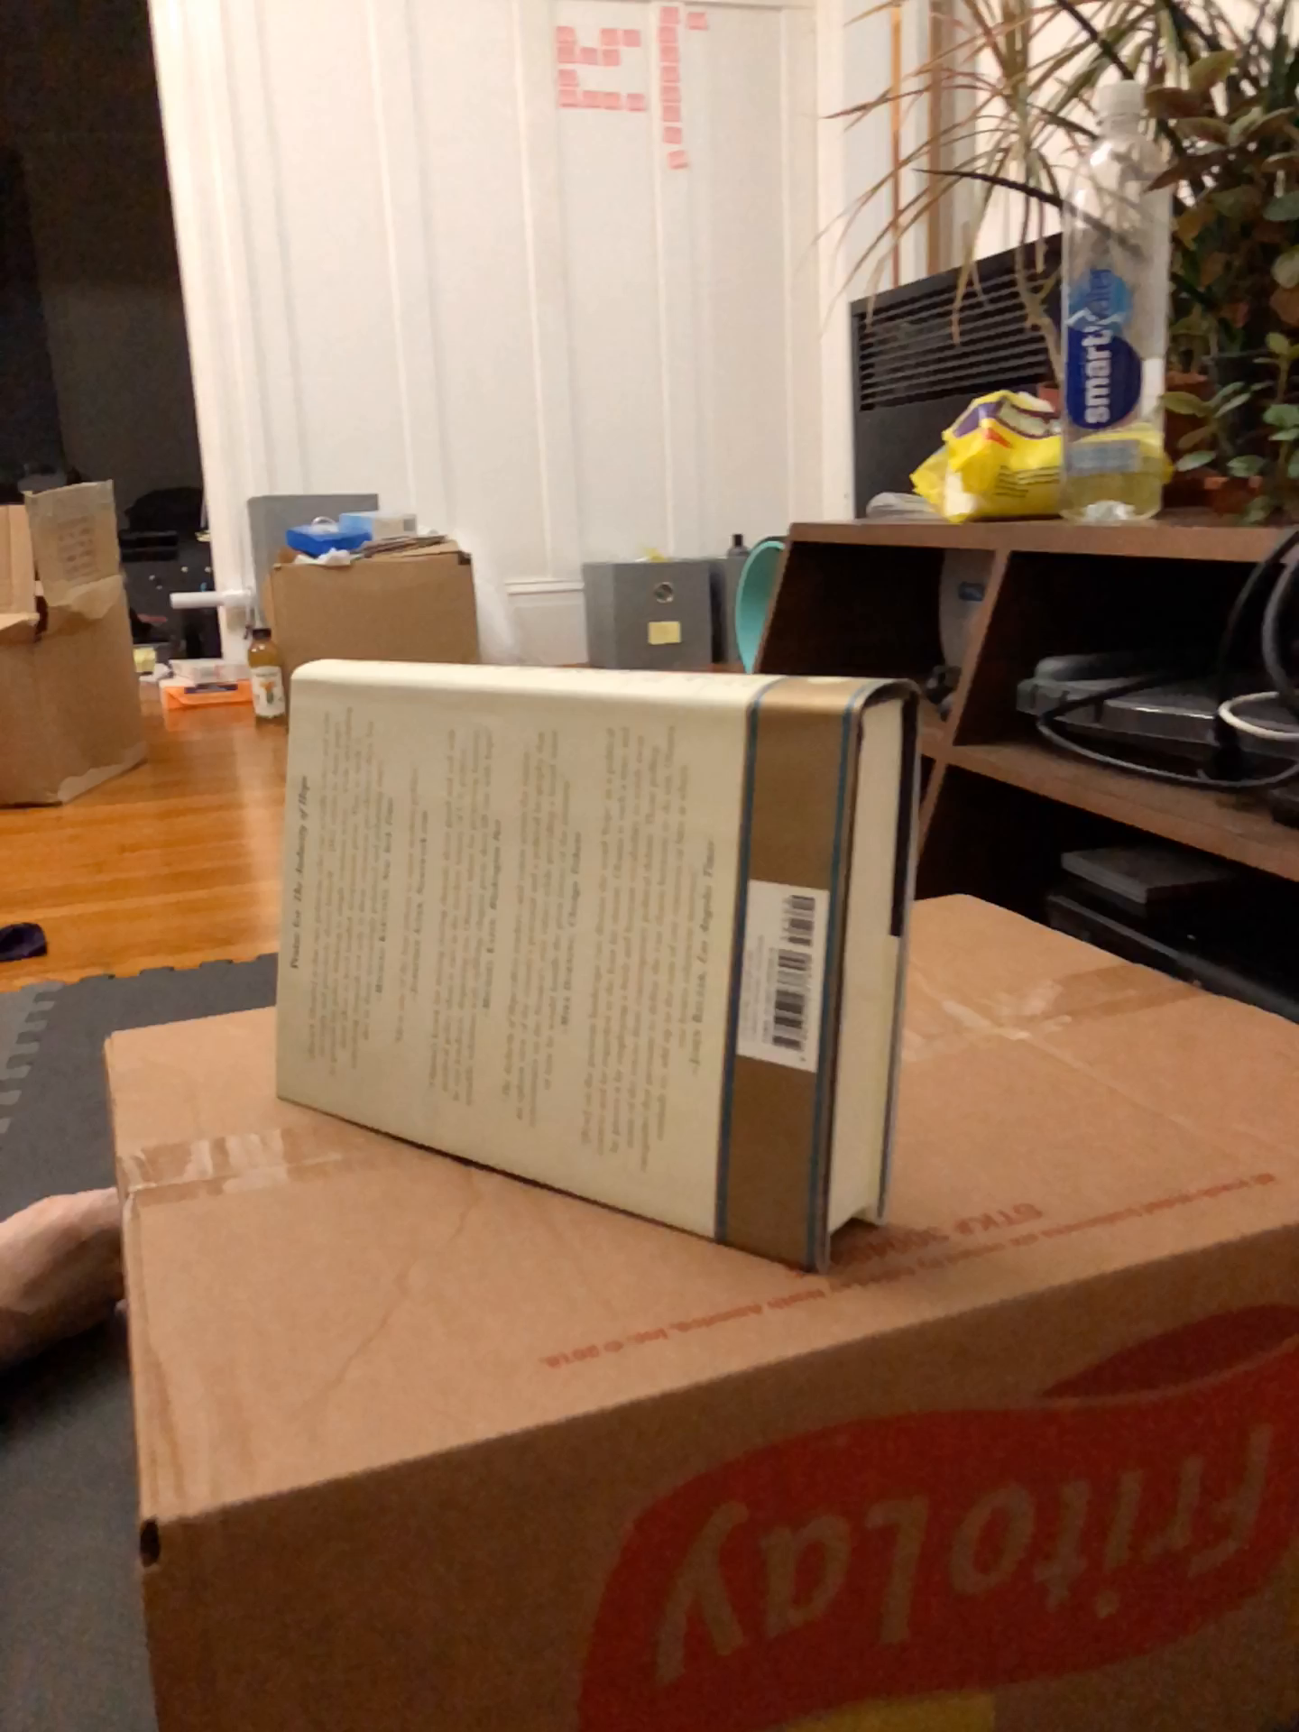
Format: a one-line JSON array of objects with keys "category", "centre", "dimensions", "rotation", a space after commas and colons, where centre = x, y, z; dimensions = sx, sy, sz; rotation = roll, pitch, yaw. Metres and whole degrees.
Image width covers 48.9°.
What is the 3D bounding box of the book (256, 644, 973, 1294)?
[{"category": "book", "centre": [-0.027, 0.017, 0.489], "dimensions": [0.250, 0.170, 0.060], "rotation": [9, 8, 37]}]
